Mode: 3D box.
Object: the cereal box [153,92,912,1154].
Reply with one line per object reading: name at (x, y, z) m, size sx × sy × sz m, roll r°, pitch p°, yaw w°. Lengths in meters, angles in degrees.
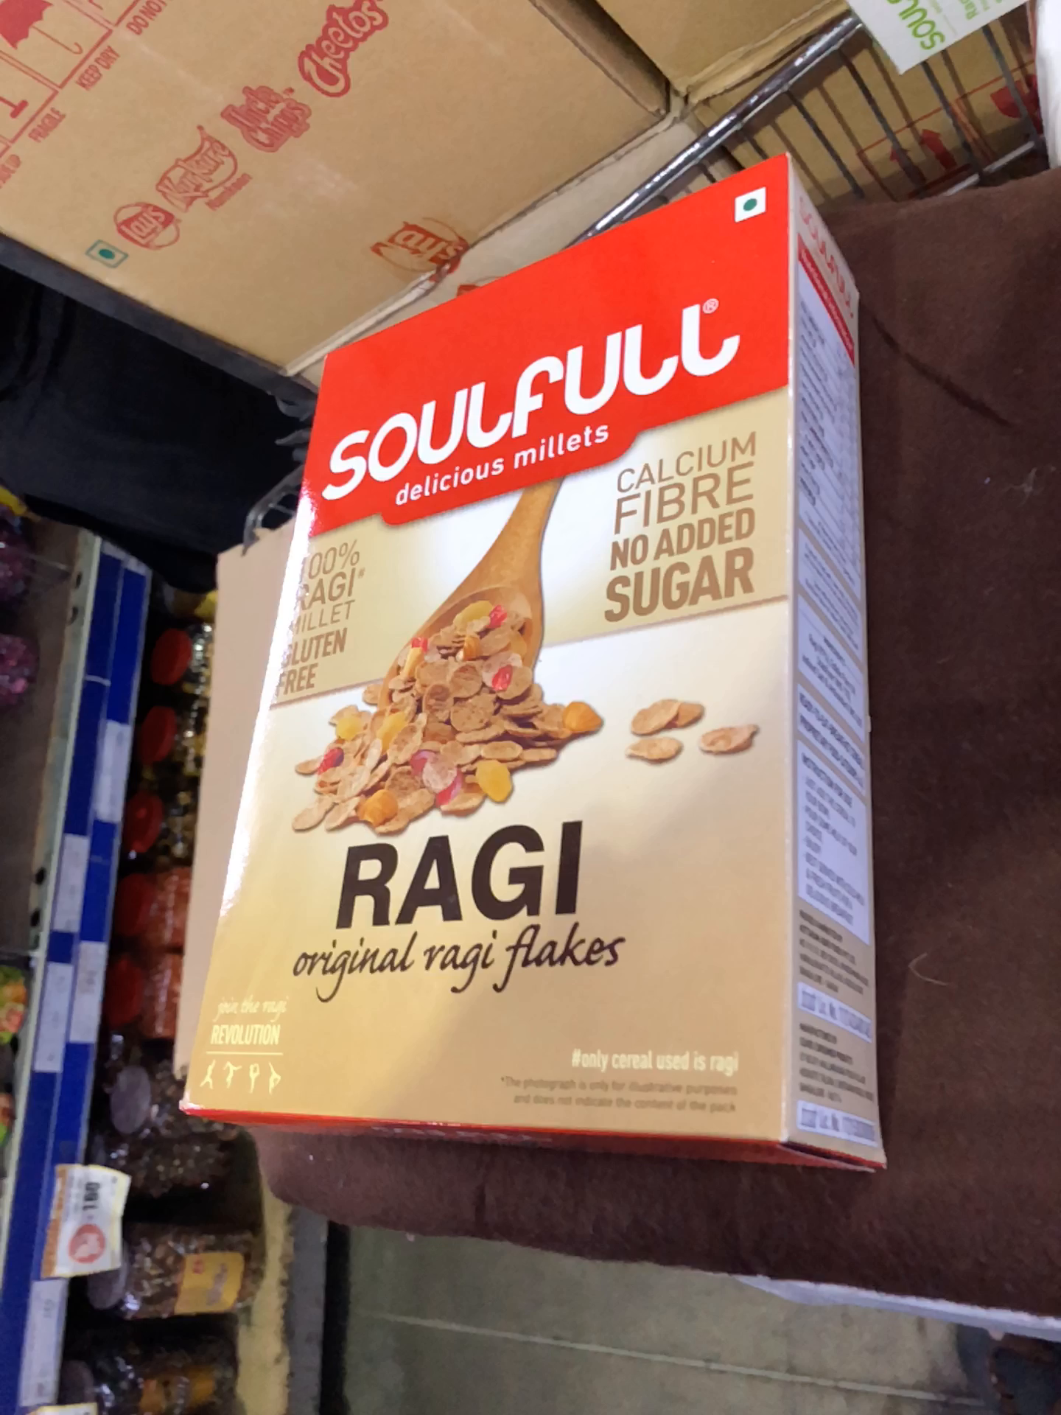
cereal box at (0.000, -0.018, 0.307) m, size 0.171 × 0.050 × 0.240 m, roll -11°, pitch 64°, yaw 33°
